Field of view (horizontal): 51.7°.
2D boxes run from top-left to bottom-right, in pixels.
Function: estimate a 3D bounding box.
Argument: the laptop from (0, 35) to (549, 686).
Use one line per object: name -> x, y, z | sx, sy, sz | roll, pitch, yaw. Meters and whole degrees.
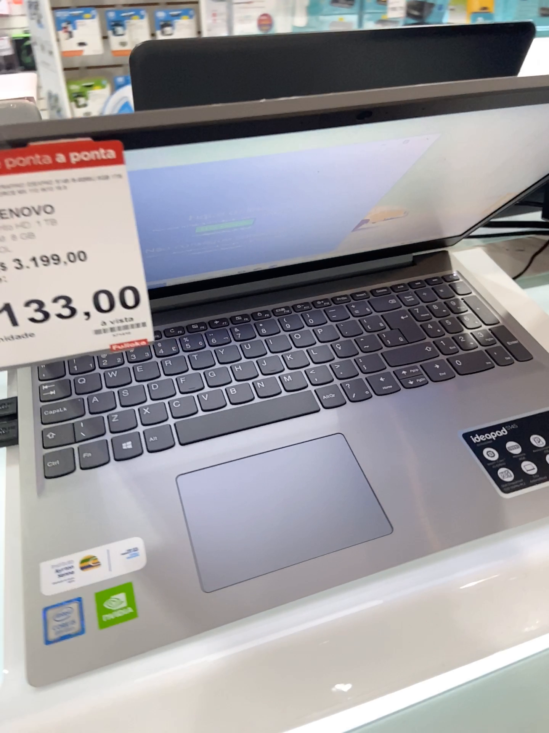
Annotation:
laptop -> 0.022, -0.049, 0.326 | 0.359, 0.163, 0.242 | -12, 44, -15
